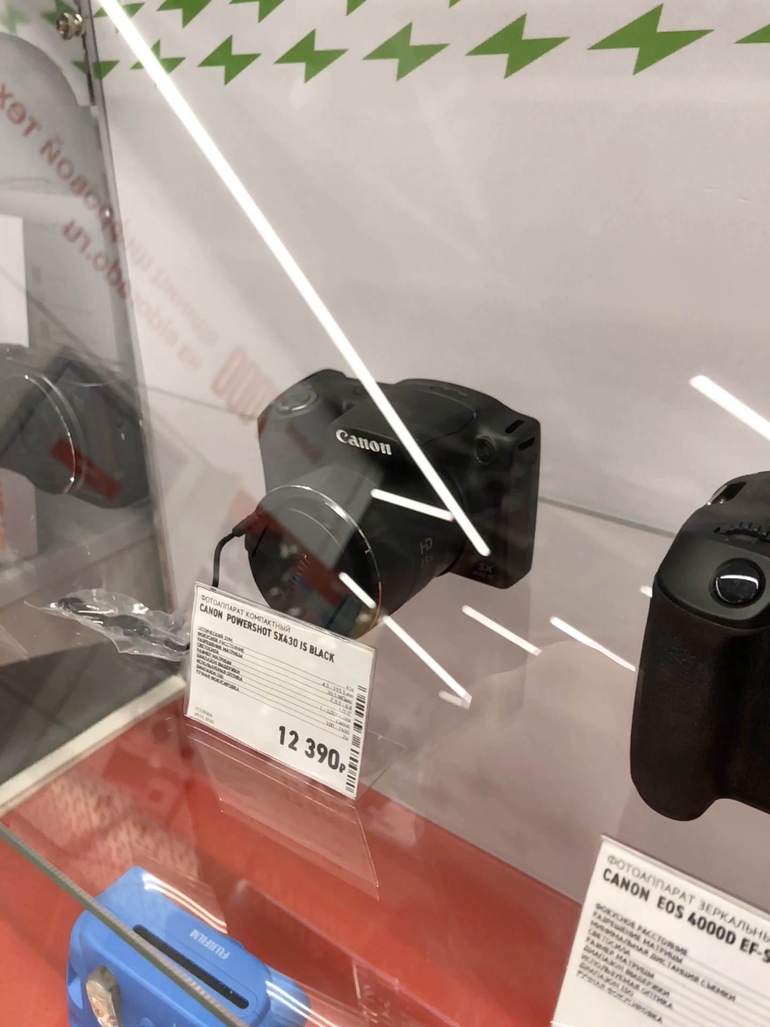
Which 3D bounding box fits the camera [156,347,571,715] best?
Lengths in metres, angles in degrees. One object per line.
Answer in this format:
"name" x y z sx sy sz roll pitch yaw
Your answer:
"camera" -0.007 -0.003 0.310 0.113 0.080 0.086 18 31 34
